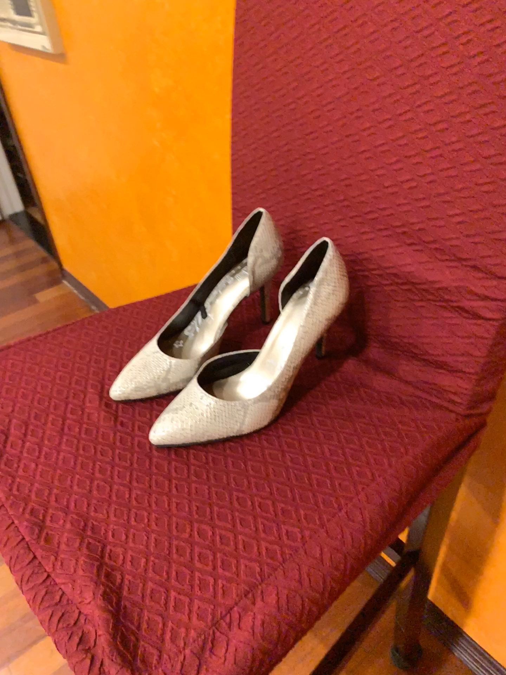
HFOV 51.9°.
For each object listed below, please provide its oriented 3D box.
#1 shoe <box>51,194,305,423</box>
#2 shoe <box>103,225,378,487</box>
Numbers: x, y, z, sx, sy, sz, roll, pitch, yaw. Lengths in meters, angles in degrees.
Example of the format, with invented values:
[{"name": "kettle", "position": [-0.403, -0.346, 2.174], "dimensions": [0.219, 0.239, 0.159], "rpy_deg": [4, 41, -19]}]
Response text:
[{"name": "shoe", "position": [-0.064, -0.041, 0.564], "dimensions": [0.252, 0.119, 0.090], "rpy_deg": [-33, 48, -28]}, {"name": "shoe", "position": [0.001, 0.007, 0.505], "dimensions": [0.249, 0.120, 0.090], "rpy_deg": [-33, 48, -28]}]
